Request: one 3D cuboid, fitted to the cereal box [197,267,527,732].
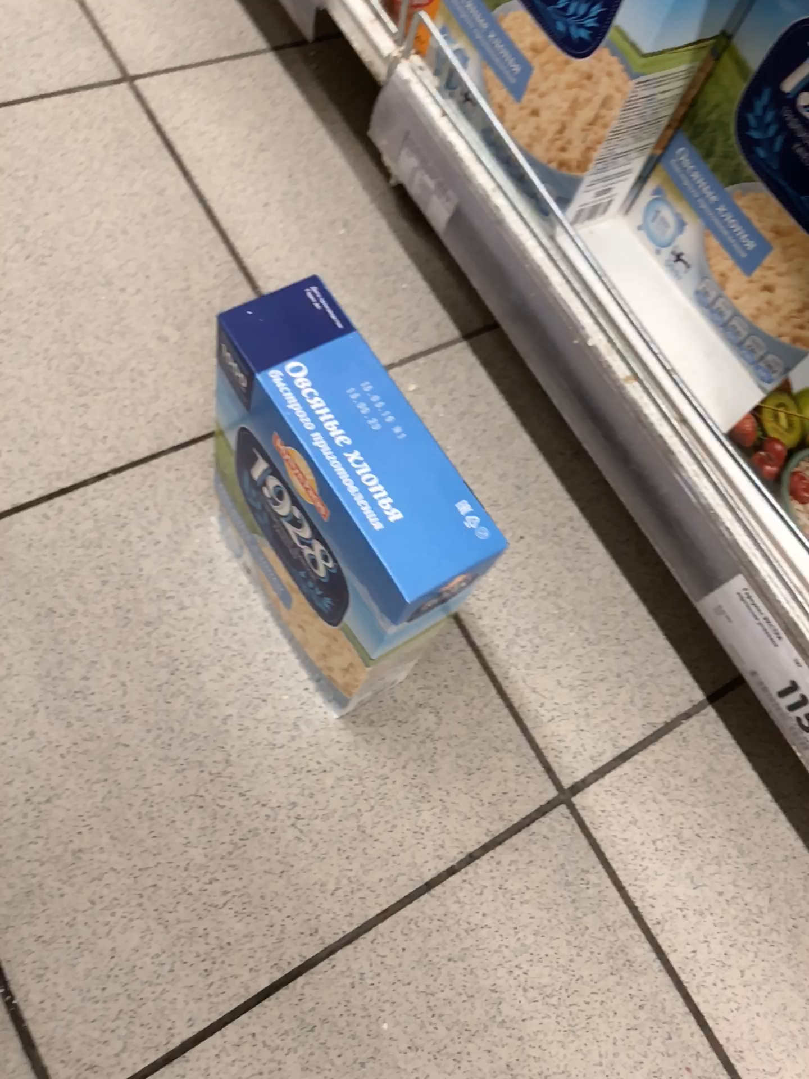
[{"bbox_3d":[-0.038,-0.004,0.443,0.060,0.199,0.150,-29,76,-22],"label":"cereal box"}]
